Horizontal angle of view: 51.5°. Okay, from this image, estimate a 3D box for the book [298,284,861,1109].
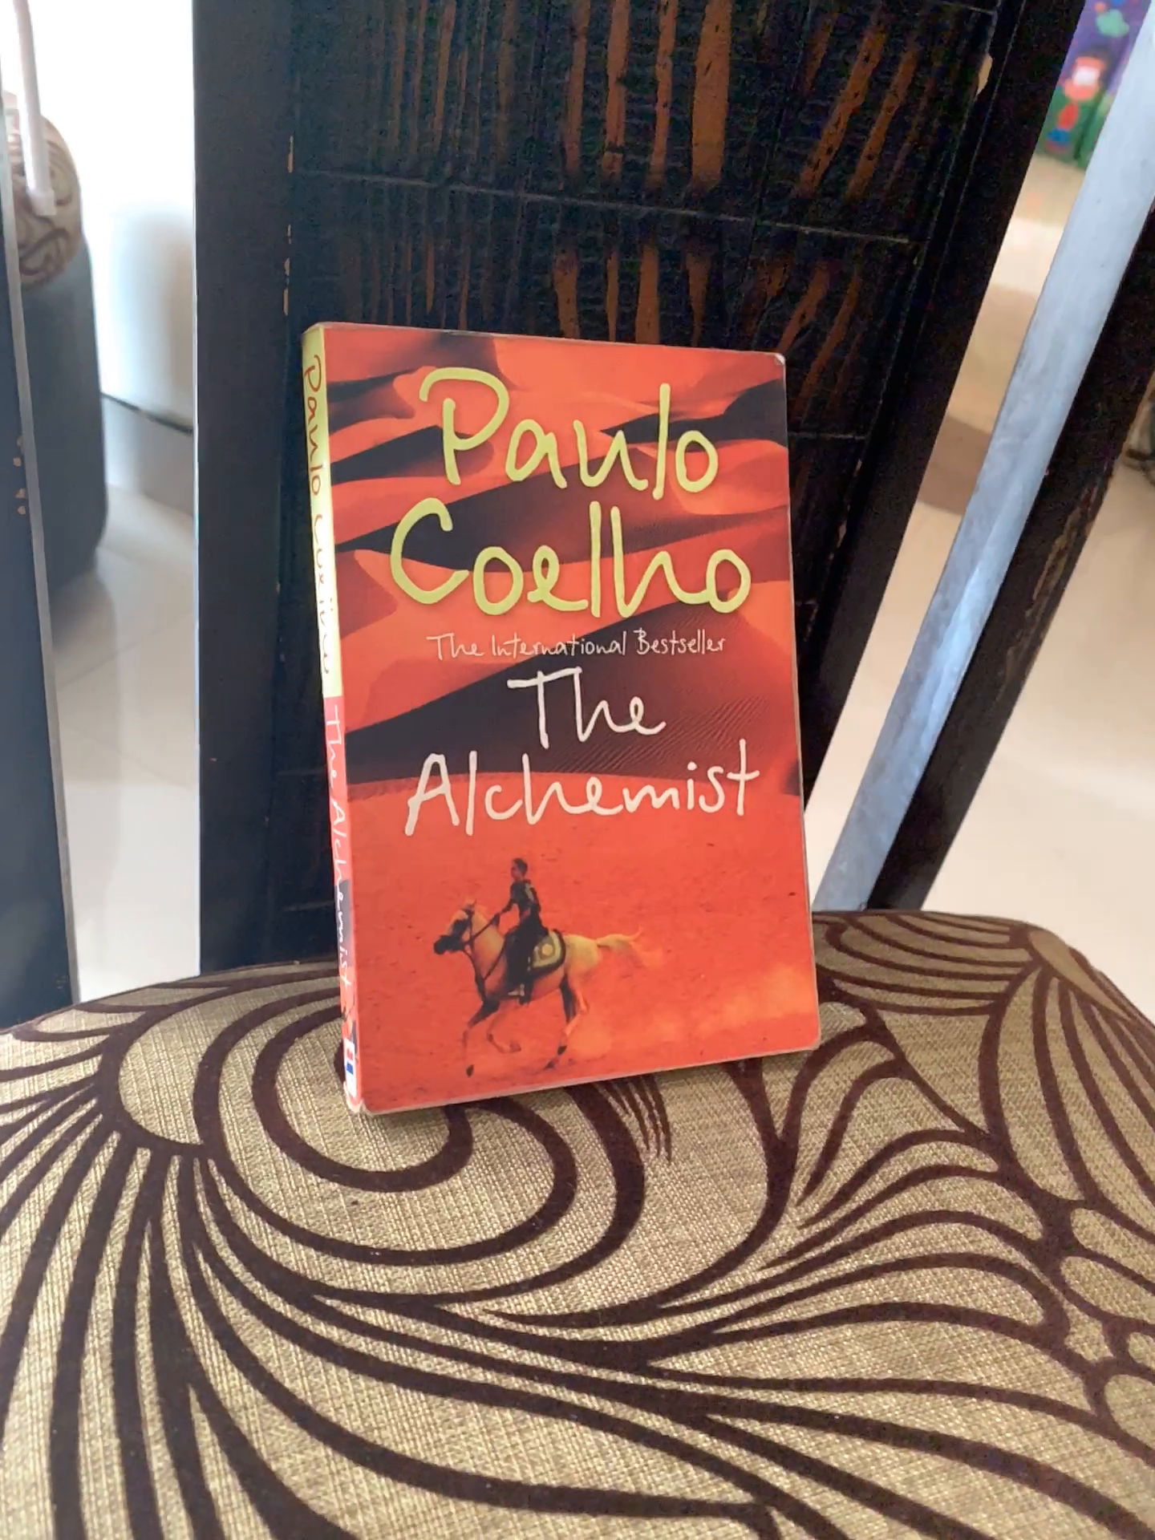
[{"bbox_3d":[0.002,-0.022,0.326,0.140,0.200,0.030,-2,-3,-20],"label":"book"}]
